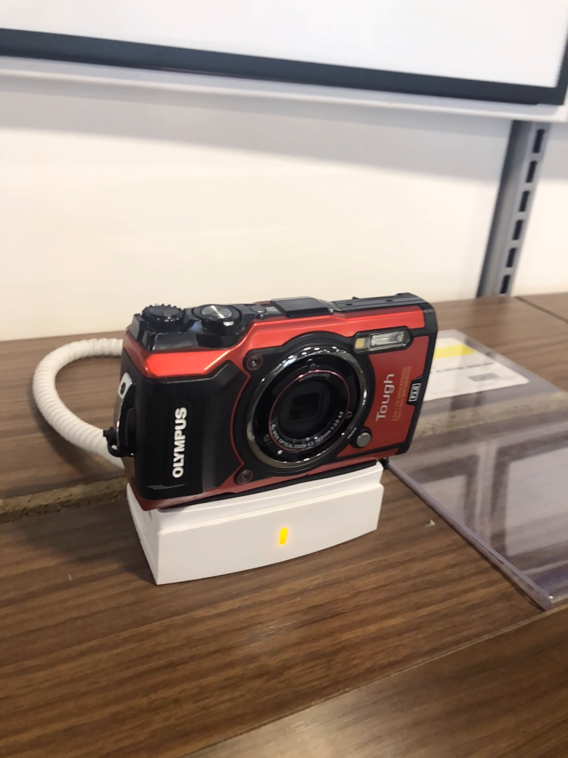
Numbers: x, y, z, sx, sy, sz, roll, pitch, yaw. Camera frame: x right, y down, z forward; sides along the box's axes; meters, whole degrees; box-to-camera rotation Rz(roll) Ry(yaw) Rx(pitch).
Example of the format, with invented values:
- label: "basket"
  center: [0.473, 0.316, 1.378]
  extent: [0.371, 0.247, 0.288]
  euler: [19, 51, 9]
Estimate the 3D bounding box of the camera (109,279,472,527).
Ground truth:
- label: "camera"
  center: [0.003, 0.003, 0.217]
  extent: [0.117, 0.064, 0.030]
  euler: [-7, 27, -25]
